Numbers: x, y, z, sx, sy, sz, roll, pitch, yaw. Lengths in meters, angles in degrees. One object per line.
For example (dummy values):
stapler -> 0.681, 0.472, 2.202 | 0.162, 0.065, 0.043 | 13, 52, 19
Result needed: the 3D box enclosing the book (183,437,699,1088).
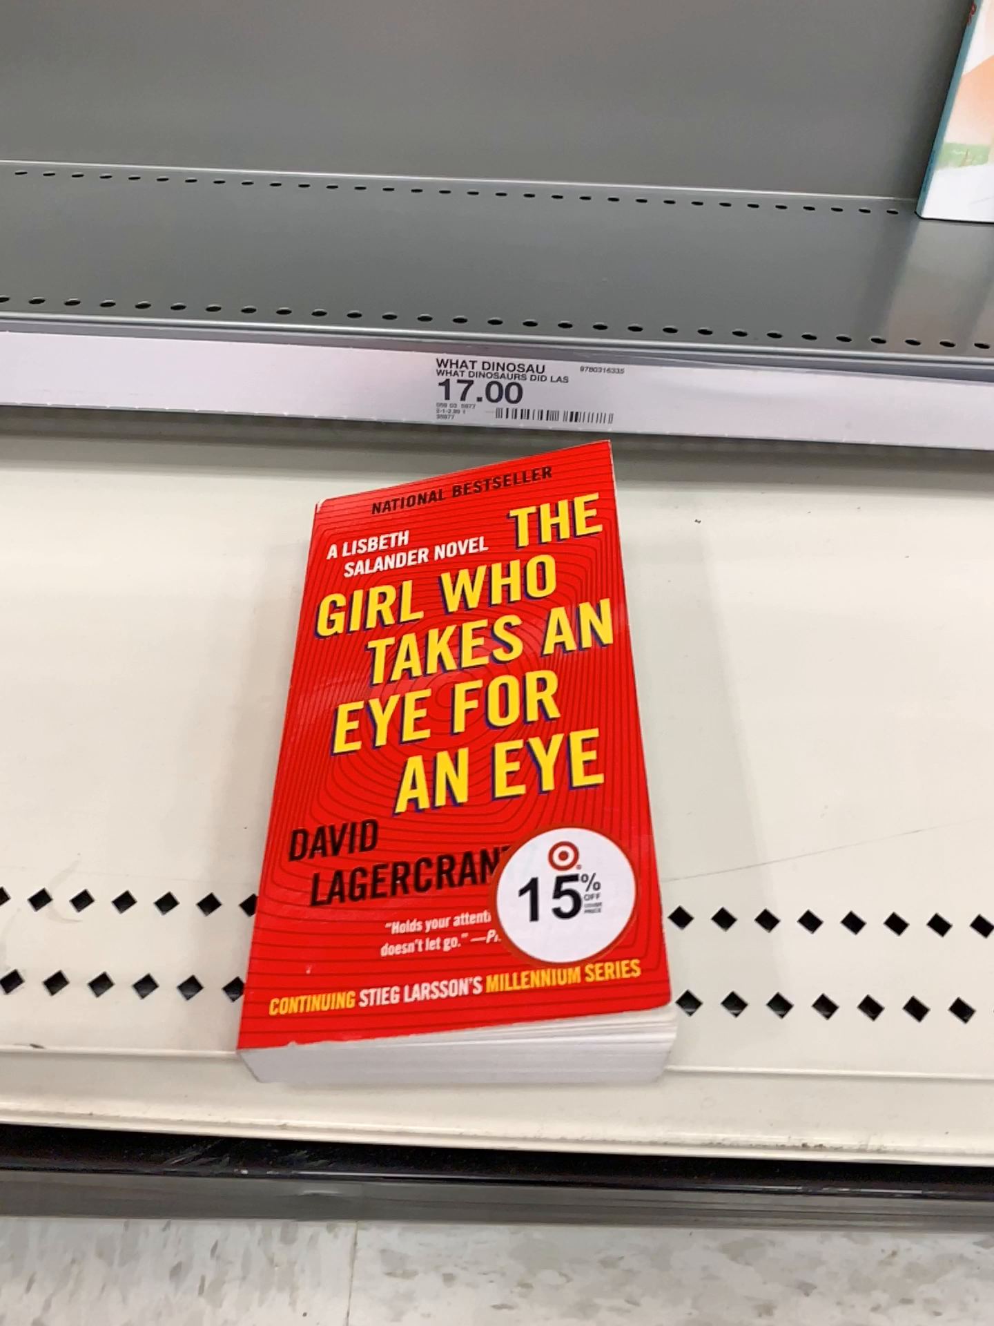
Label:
book -> -0.014, 0.016, 0.308 | 0.115, 0.046, 0.200 | 0, 52, -1
